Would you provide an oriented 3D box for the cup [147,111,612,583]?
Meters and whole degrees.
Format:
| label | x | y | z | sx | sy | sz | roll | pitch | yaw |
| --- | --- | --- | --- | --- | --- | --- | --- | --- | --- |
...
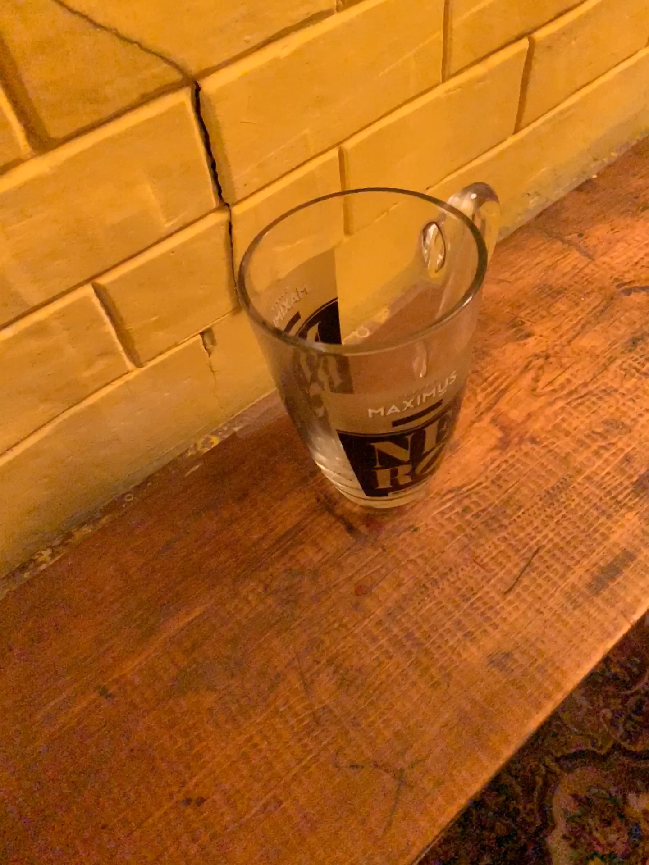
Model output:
| label | x | y | z | sx | sy | sz | roll | pitch | yaw |
| --- | --- | --- | --- | --- | --- | --- | --- | --- | --- |
| cup | 0.023 | -0.034 | 0.259 | 0.093 | 0.098 | 0.124 | 36 | 66 | 27 |
